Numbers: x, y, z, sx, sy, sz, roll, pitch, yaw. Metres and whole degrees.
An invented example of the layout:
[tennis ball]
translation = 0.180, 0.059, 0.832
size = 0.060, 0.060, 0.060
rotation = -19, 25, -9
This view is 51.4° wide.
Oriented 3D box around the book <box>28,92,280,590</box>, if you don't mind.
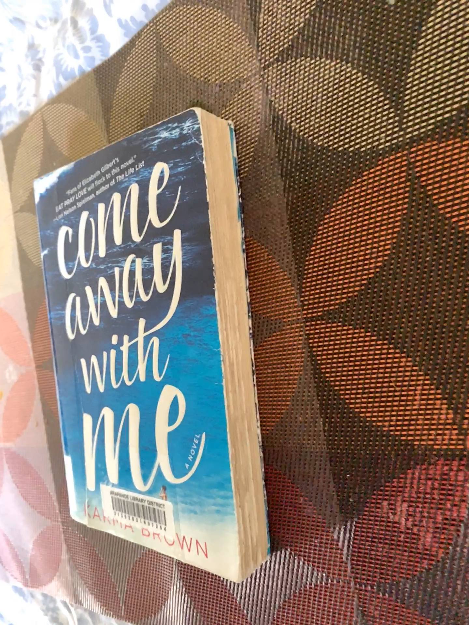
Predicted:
[book]
translation = -0.049, 0.015, 0.250
size = 0.135, 0.030, 0.200
rotation = -4, 92, 41
